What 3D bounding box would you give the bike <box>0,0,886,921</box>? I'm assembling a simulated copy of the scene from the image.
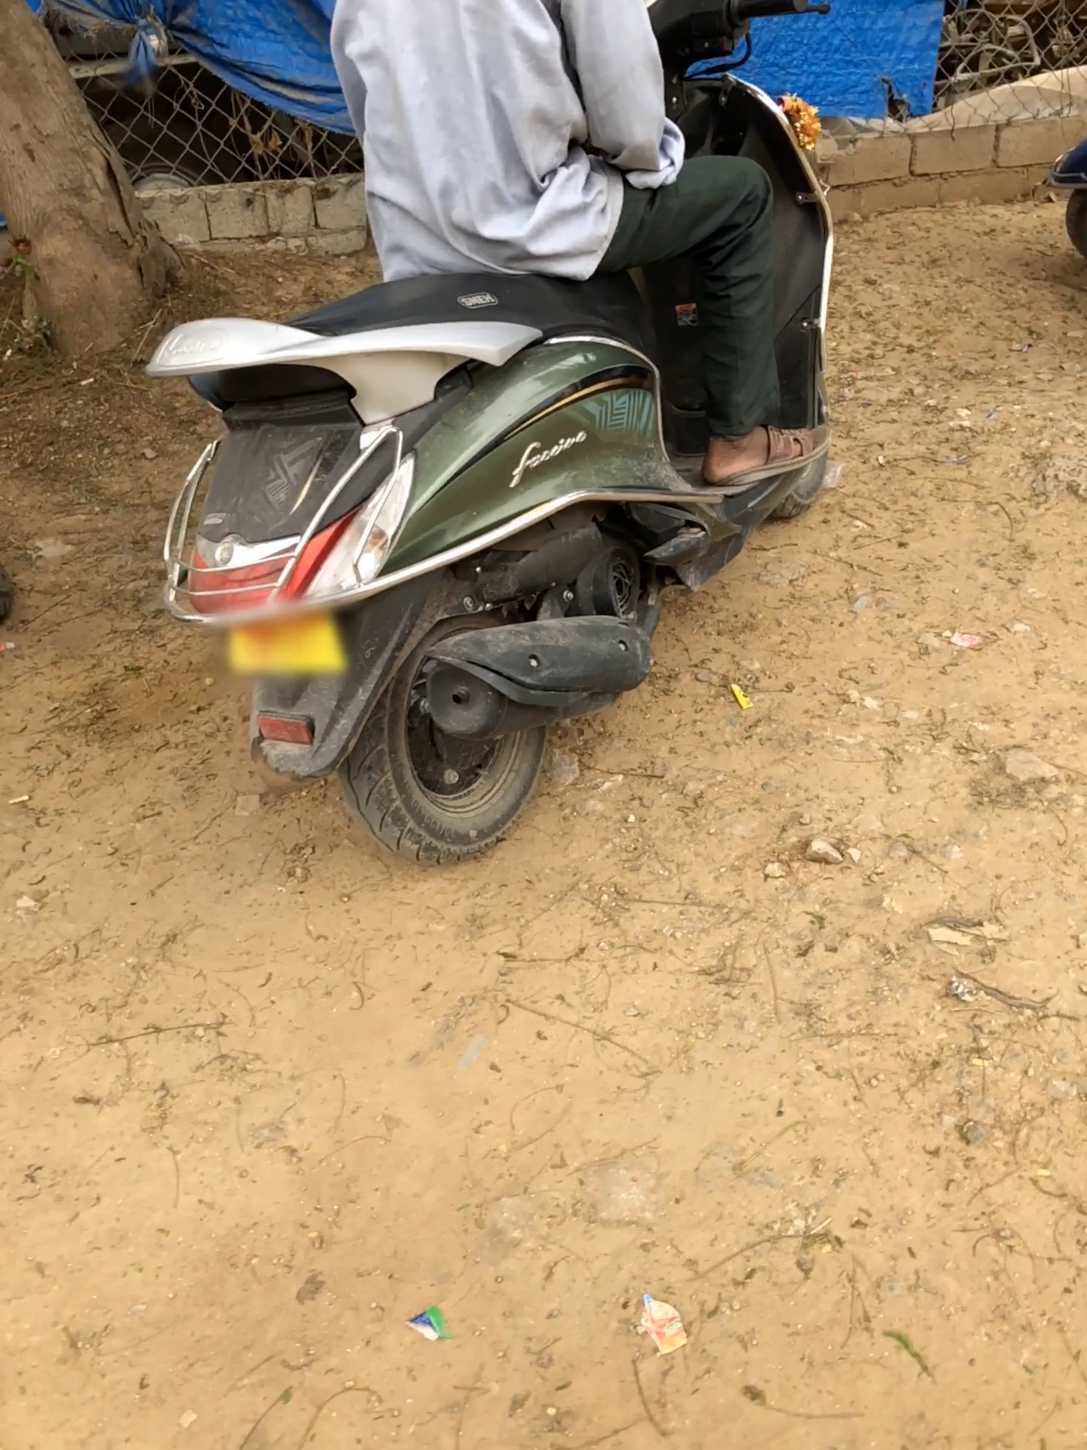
[{"bbox_3d":[0.010,-0.753,2.117,0.622,1.054,1.731,15,40,26],"label":"bike"}]
